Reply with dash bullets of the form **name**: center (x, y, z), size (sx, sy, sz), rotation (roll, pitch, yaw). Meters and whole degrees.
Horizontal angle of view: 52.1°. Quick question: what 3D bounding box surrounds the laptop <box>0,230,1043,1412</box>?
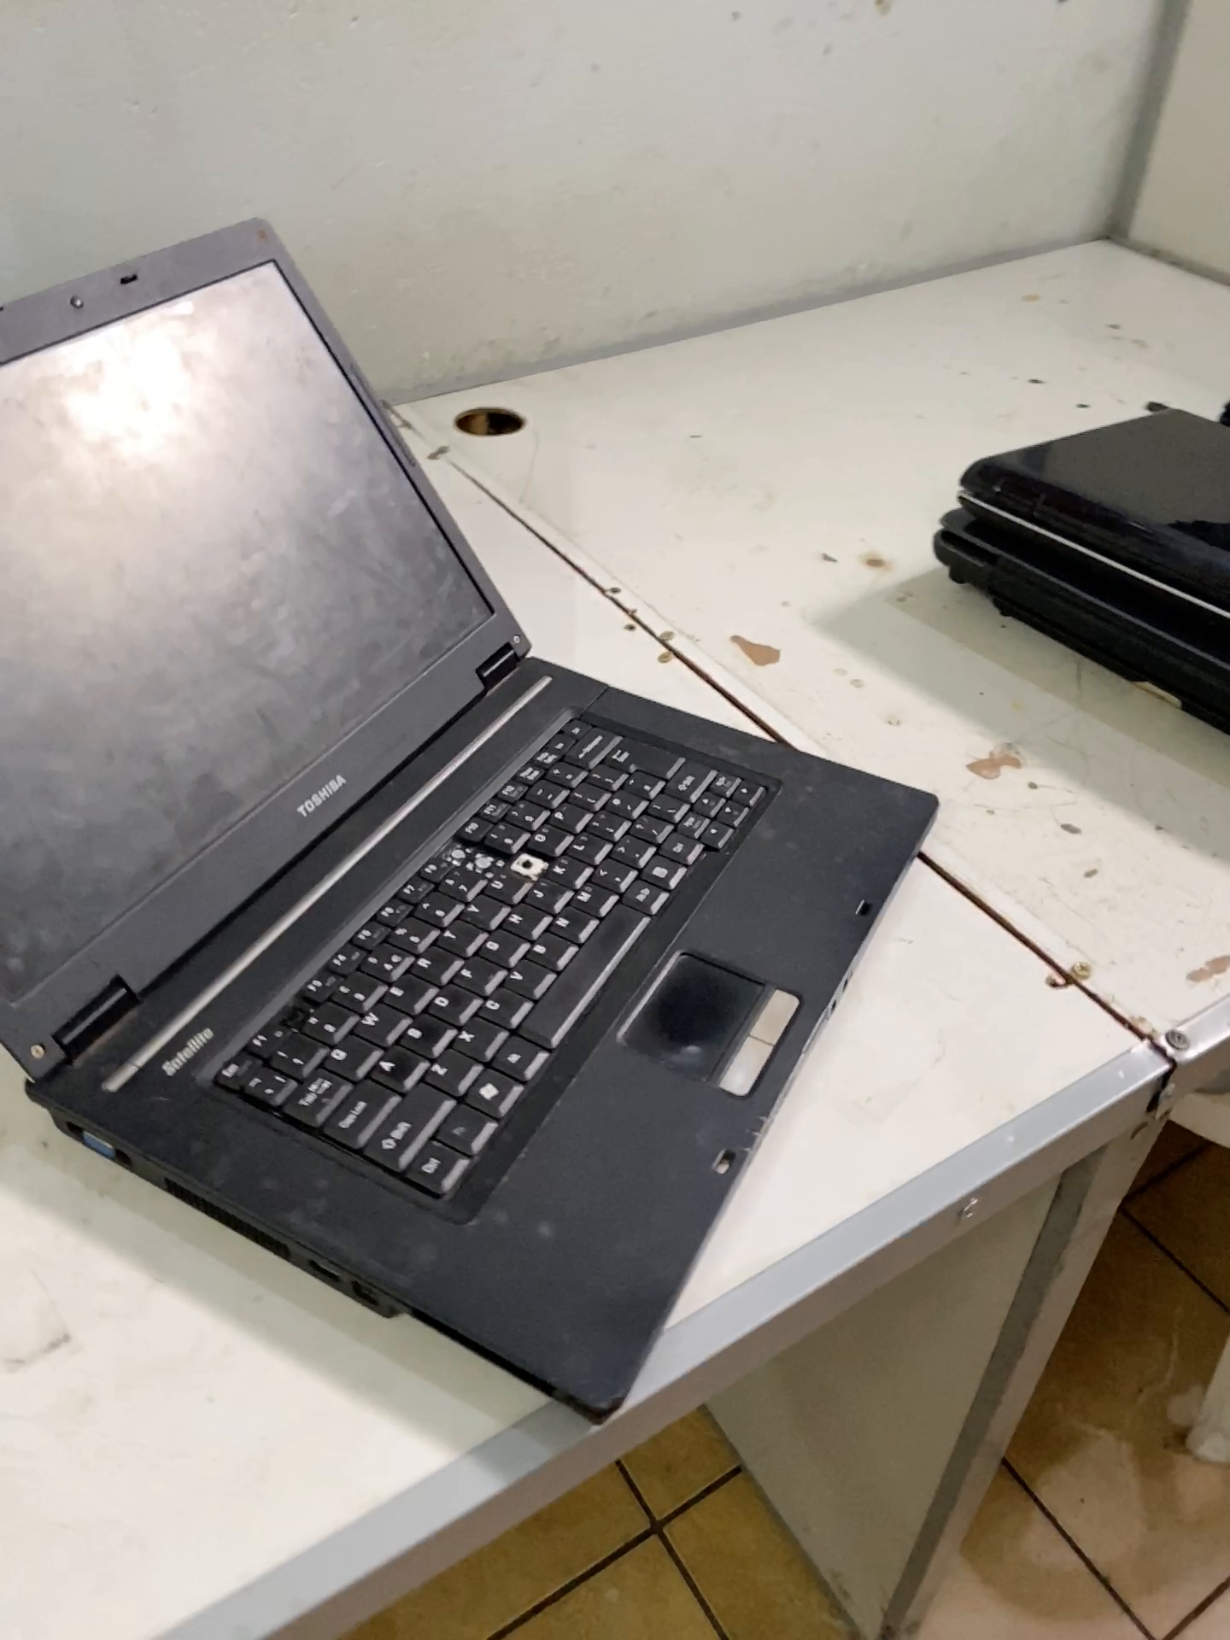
- **laptop**: center (-0.092, -0.057, 0.528), size (0.402, 0.212, 0.357), rotation (21, 44, 21)
